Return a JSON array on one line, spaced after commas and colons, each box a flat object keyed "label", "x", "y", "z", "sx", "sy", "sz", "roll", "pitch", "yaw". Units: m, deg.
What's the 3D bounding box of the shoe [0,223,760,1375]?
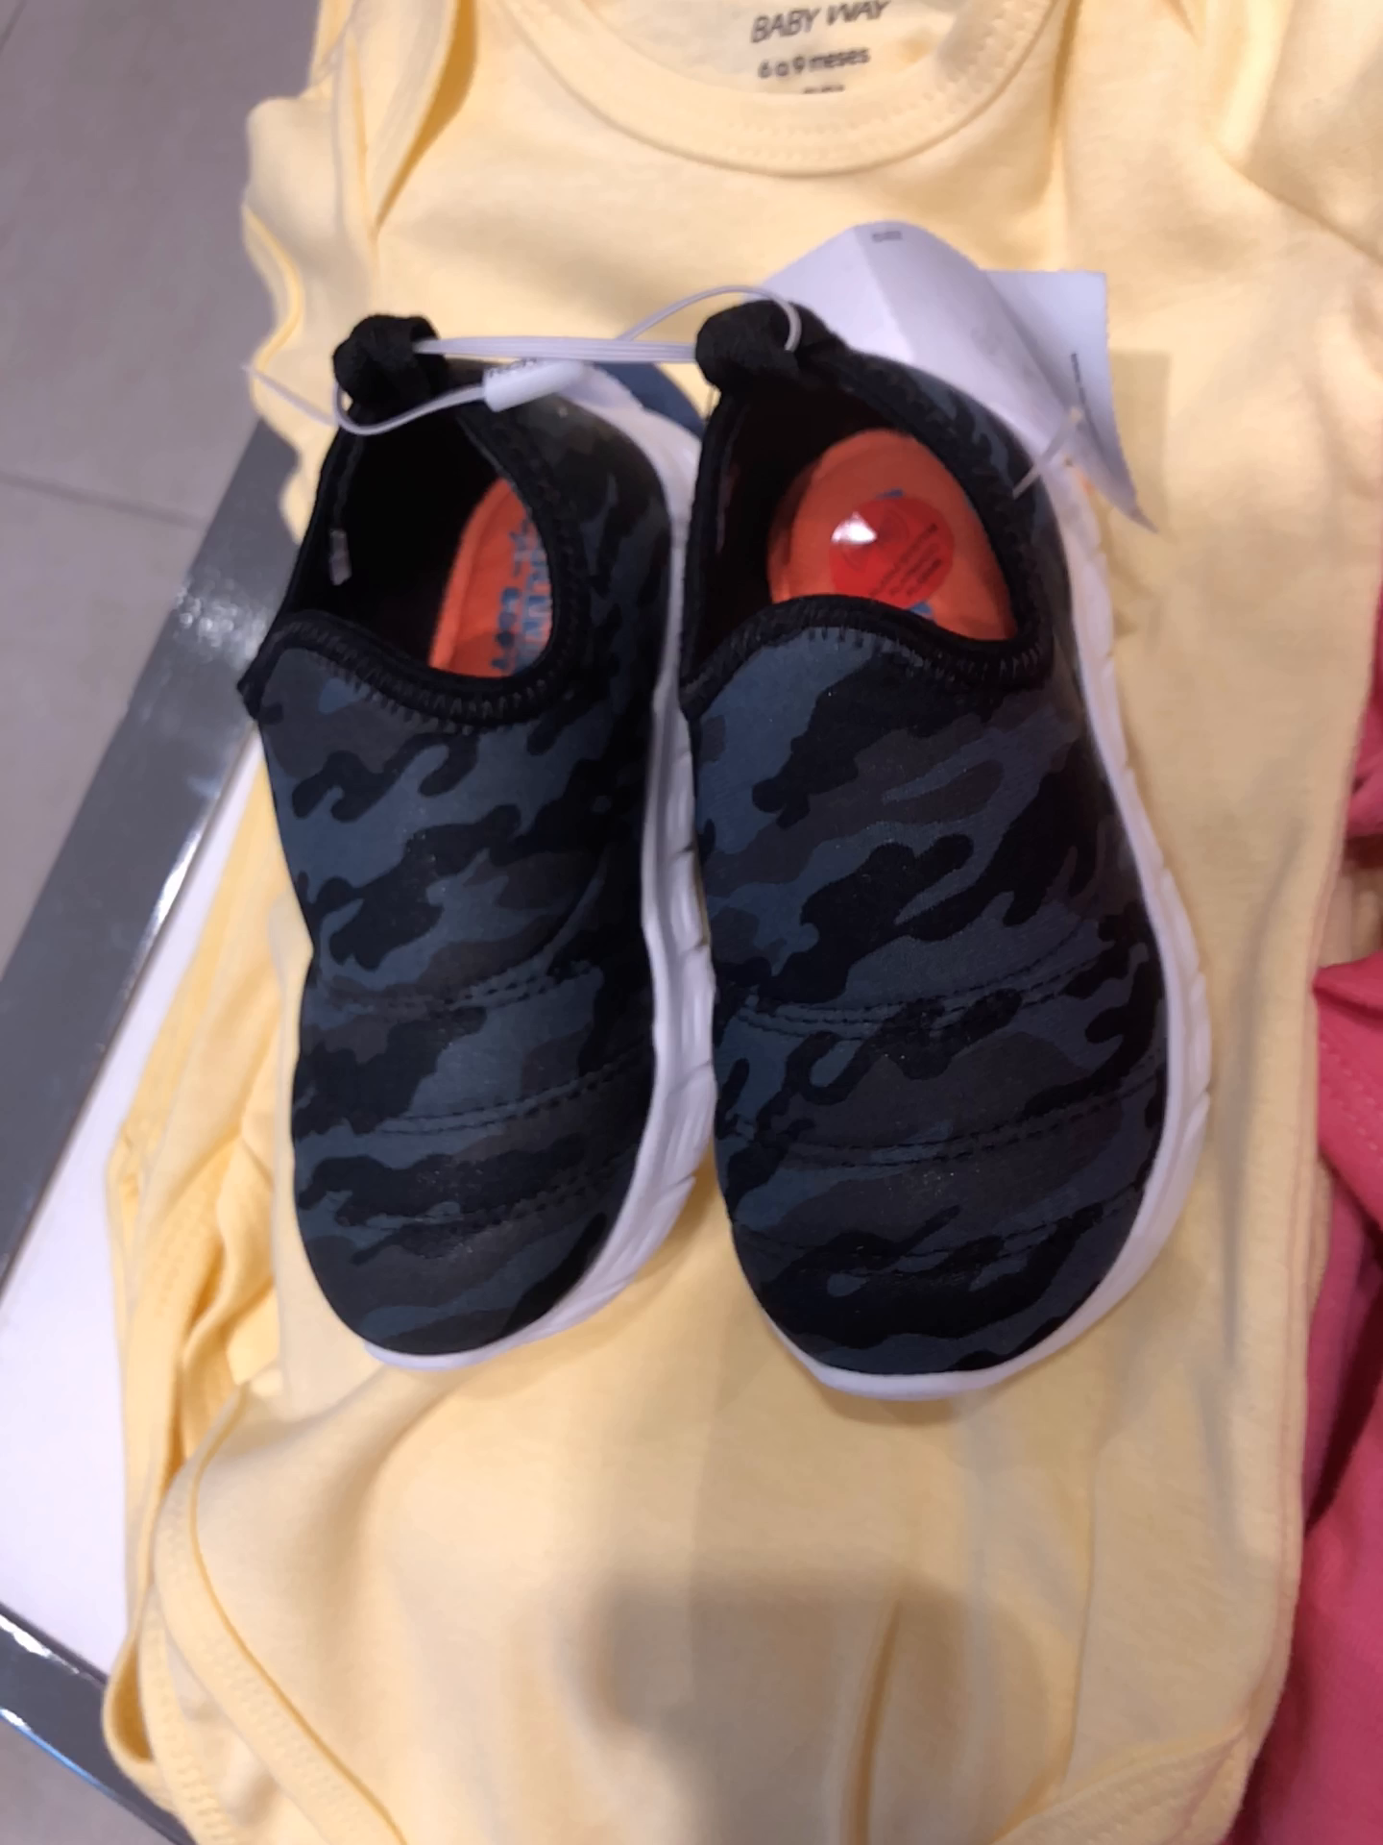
[{"label": "shoe", "x": -0.038, "y": -0.012, "z": 0.241, "sx": 0.070, "sy": 0.080, "sz": 0.150, "roll": -1, "pitch": 75, "yaw": 19}]

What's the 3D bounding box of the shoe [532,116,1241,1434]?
[{"label": "shoe", "x": 0.026, "y": -0.013, "z": 0.211, "sx": 0.070, "sy": 0.070, "sz": 0.150, "roll": -8, "pitch": 73, "yaw": 17}]
